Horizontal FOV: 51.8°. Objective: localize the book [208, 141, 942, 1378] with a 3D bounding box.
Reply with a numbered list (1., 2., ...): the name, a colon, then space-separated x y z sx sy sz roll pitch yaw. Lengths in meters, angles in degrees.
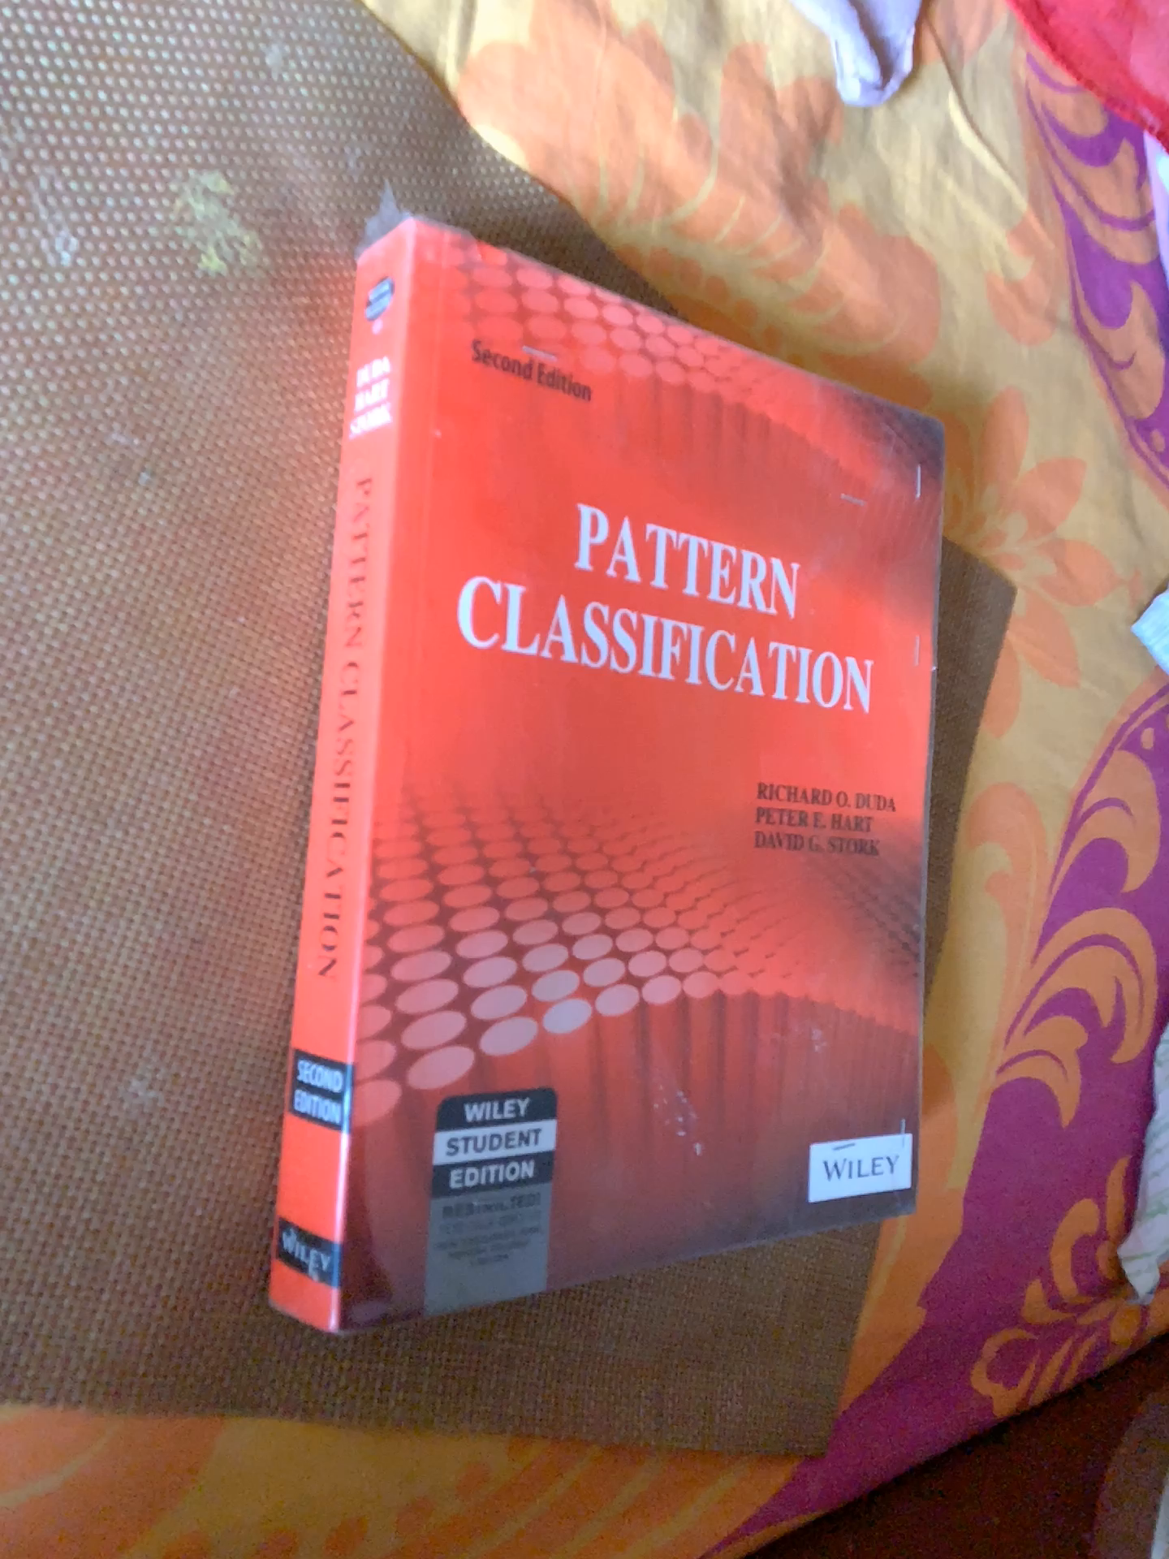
1. book: 0.013 0.001 0.295 0.181 0.040 0.230 7 84 -39
